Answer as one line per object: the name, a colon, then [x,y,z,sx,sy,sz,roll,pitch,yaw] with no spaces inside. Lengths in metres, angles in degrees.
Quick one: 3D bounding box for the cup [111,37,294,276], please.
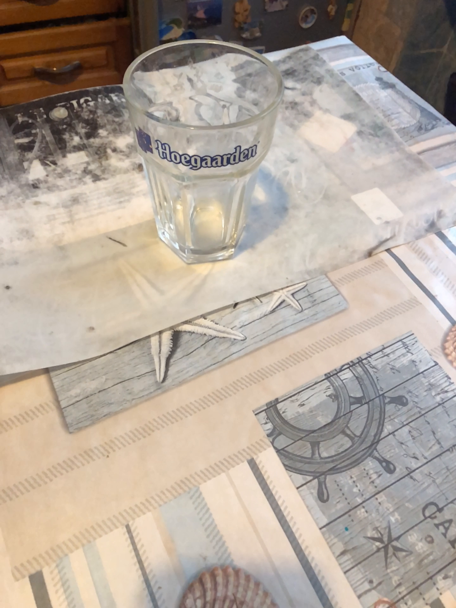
cup: [-0.016,-0.098,0.350,0.098,0.123,0.099,0,55,0]
